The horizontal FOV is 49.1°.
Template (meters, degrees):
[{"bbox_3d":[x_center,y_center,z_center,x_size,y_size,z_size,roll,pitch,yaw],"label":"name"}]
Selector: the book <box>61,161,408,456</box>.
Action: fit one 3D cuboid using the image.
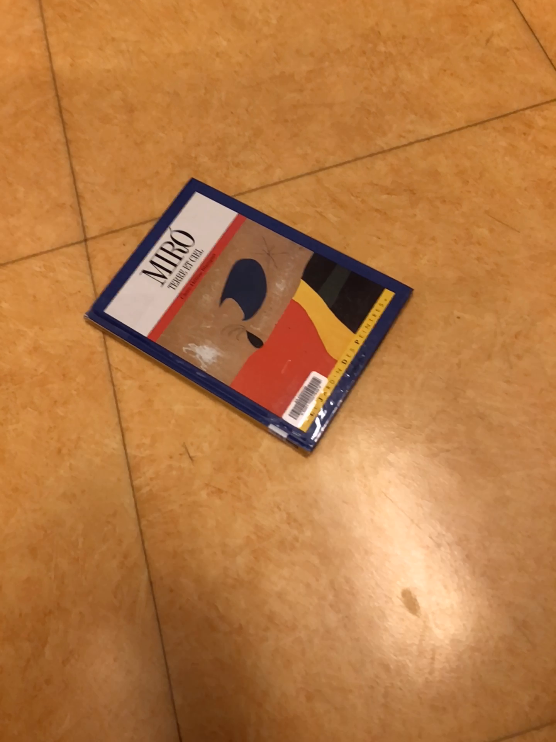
[{"bbox_3d":[-0.040,-0.066,0.532,0.245,0.020,0.178,30,75,17],"label":"book"}]
